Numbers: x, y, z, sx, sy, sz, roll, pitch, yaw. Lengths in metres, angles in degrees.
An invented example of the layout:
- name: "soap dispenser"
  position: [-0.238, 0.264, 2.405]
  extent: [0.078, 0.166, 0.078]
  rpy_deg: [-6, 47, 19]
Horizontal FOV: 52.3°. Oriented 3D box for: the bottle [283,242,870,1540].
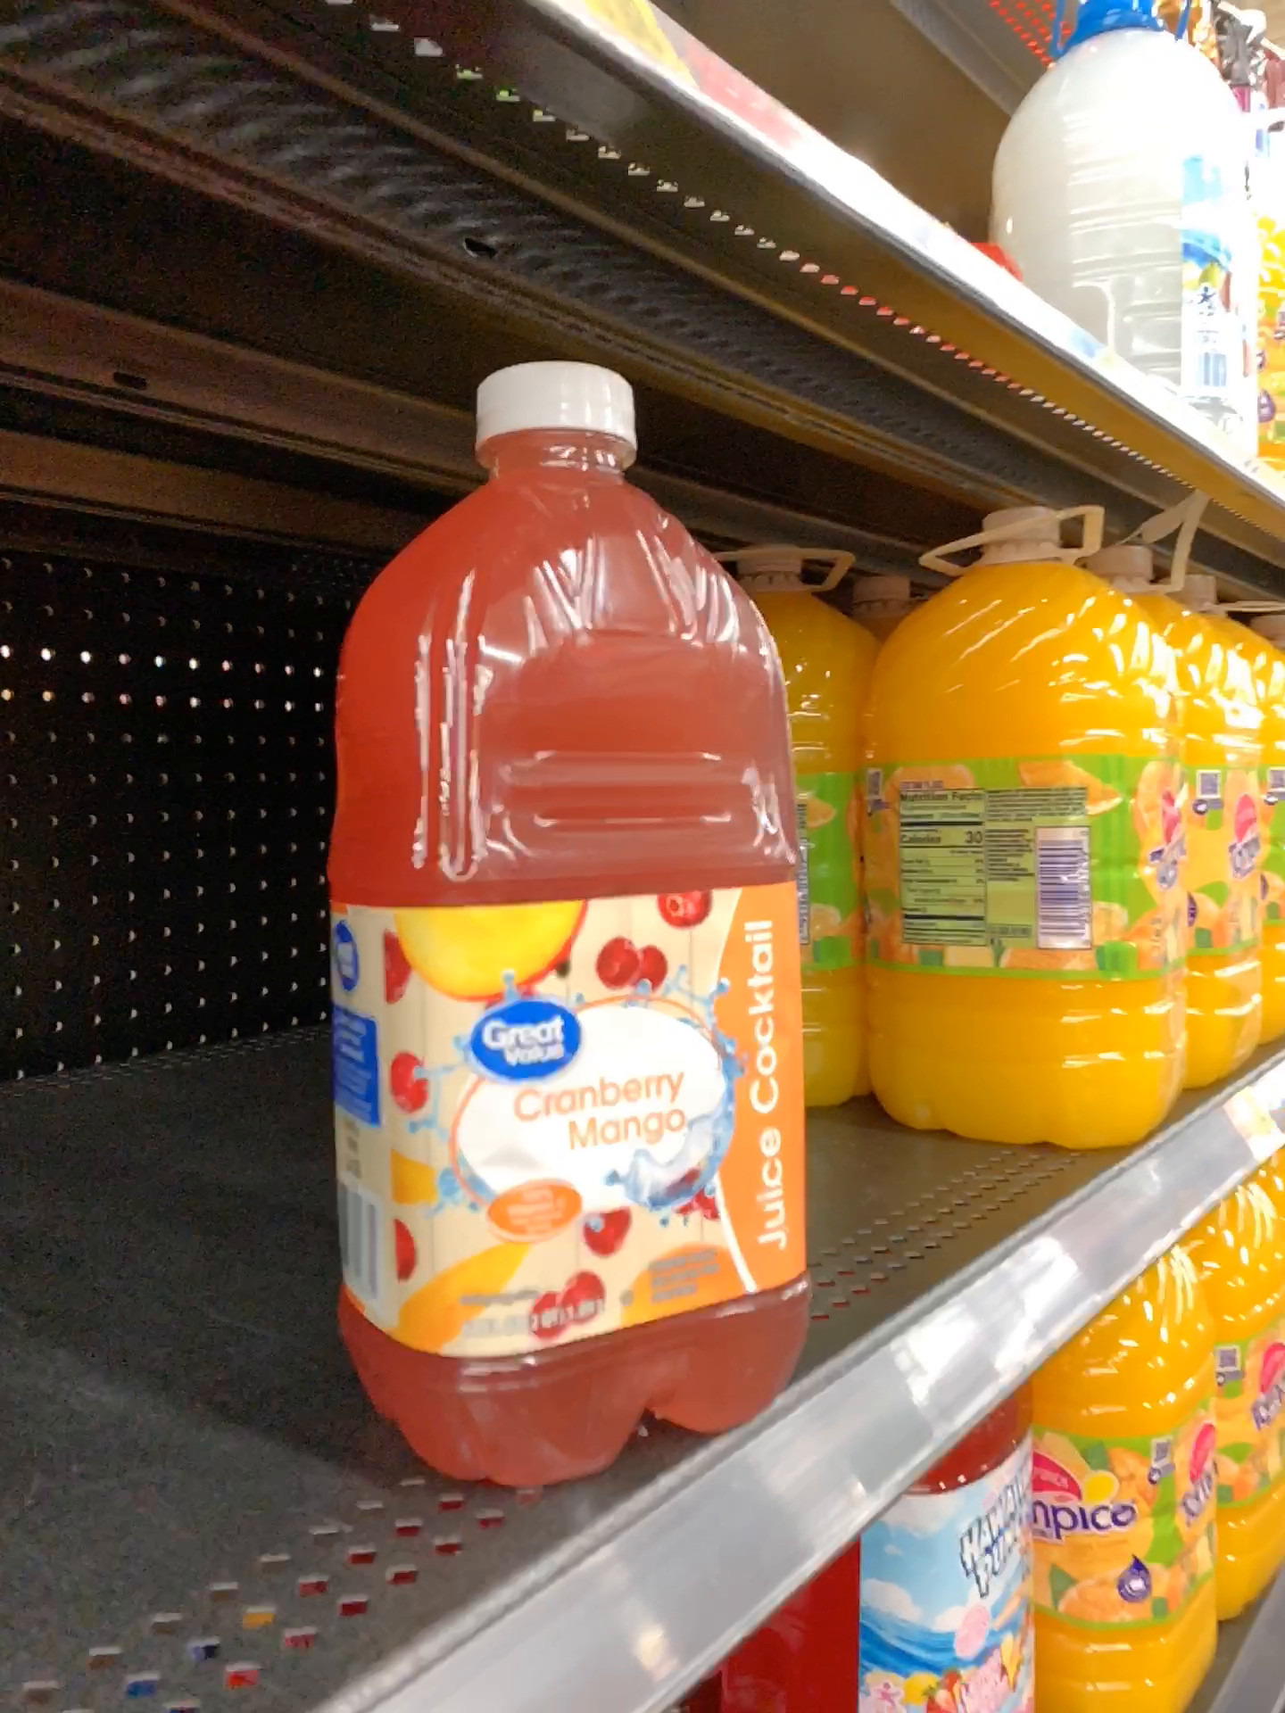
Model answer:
- name: "bottle"
  position: [-0.019, 0.006, 0.347]
  extent: [0.119, 0.273, 0.101]
  rpy_deg: [-3, 4, -30]
